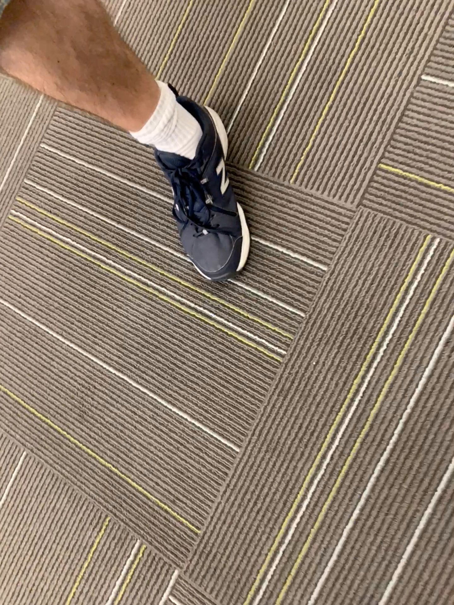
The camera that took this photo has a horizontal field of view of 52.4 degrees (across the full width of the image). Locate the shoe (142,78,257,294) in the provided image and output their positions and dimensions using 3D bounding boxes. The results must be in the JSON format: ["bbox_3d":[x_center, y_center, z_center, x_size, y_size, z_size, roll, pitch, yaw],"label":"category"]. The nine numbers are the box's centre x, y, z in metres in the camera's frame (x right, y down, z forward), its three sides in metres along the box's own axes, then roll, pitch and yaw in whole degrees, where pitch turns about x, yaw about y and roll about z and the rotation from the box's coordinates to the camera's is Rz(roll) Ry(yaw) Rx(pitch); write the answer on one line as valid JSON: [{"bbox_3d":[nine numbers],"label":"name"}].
[{"bbox_3d":[-0.047,-0.182,0.743,0.130,0.070,0.310,-11,79,19],"label":"shoe"}]
